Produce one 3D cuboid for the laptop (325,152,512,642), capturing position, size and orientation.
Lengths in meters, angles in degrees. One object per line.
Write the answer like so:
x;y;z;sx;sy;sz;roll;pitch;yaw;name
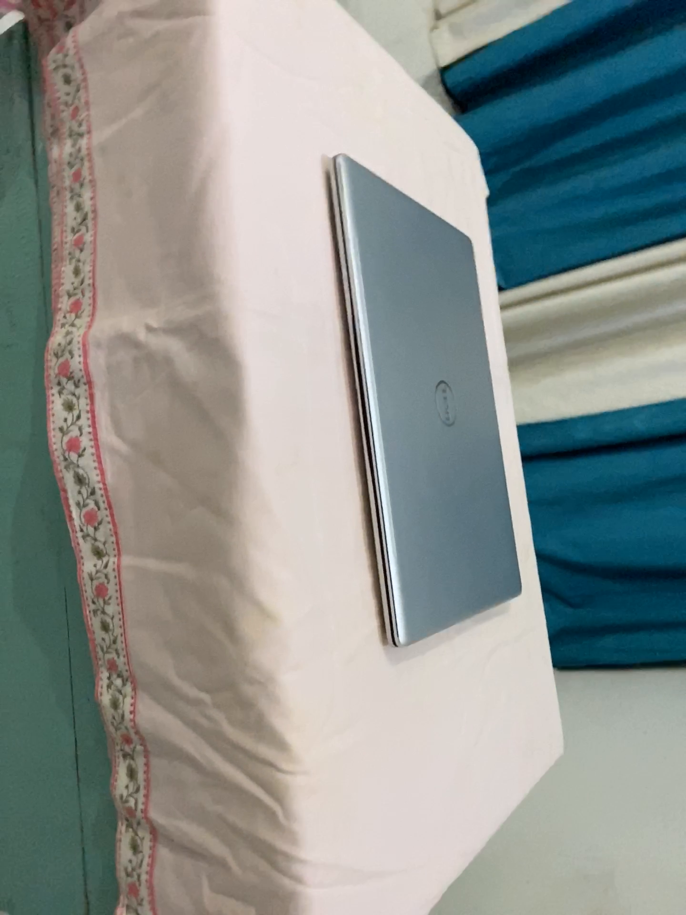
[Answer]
0.076;-0.046;0.603;0.237;0.004;0.359;0;82;-56;laptop
